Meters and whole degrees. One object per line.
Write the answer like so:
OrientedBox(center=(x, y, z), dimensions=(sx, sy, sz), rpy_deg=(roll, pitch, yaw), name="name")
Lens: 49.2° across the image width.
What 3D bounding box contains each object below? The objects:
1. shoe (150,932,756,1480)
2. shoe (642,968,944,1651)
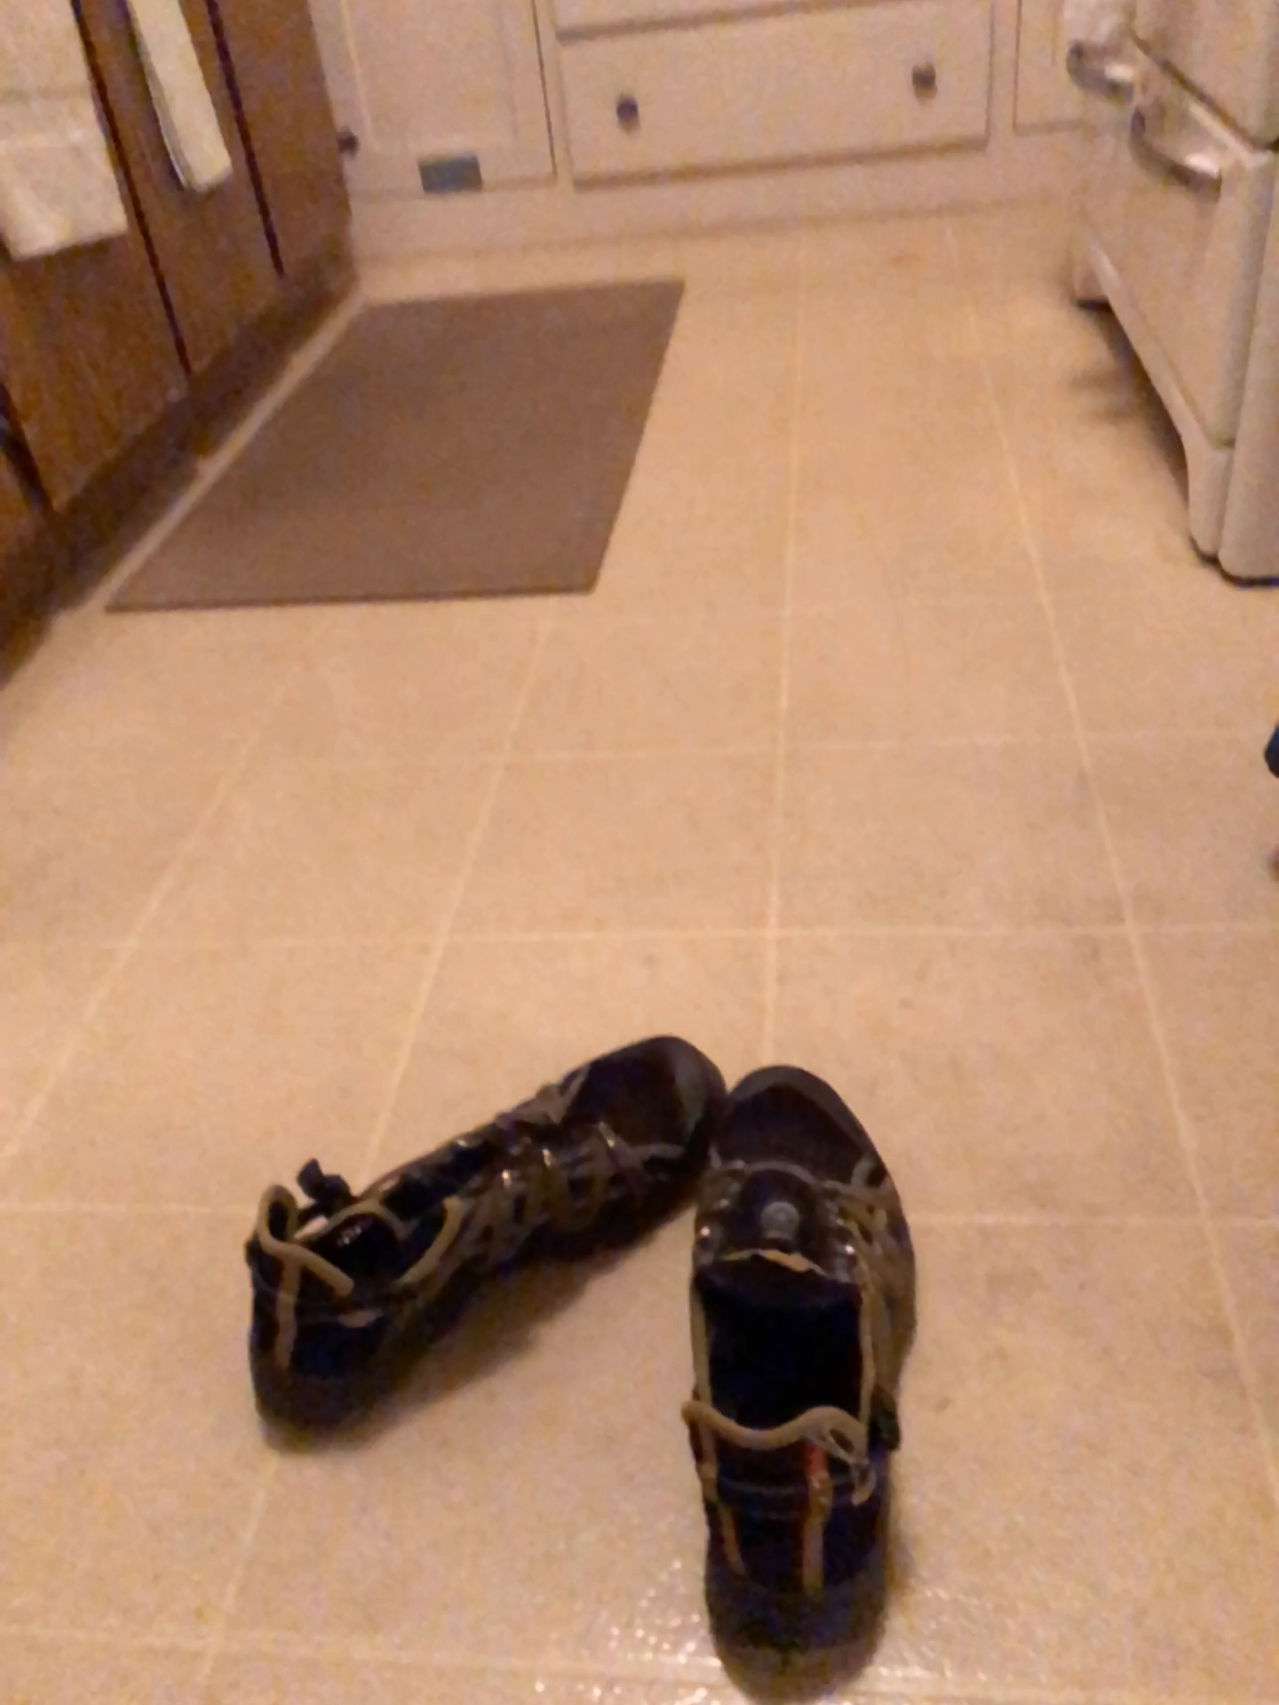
OrientedBox(center=(-0.083, 0.169, 0.715), dimensions=(0.279, 0.109, 0.100), rpy_deg=(-28, 41, -24), name="shoe")
OrientedBox(center=(0.070, 0.195, 0.653), dimensions=(0.109, 0.111, 0.288), rpy_deg=(-3, 37, 7), name="shoe")
